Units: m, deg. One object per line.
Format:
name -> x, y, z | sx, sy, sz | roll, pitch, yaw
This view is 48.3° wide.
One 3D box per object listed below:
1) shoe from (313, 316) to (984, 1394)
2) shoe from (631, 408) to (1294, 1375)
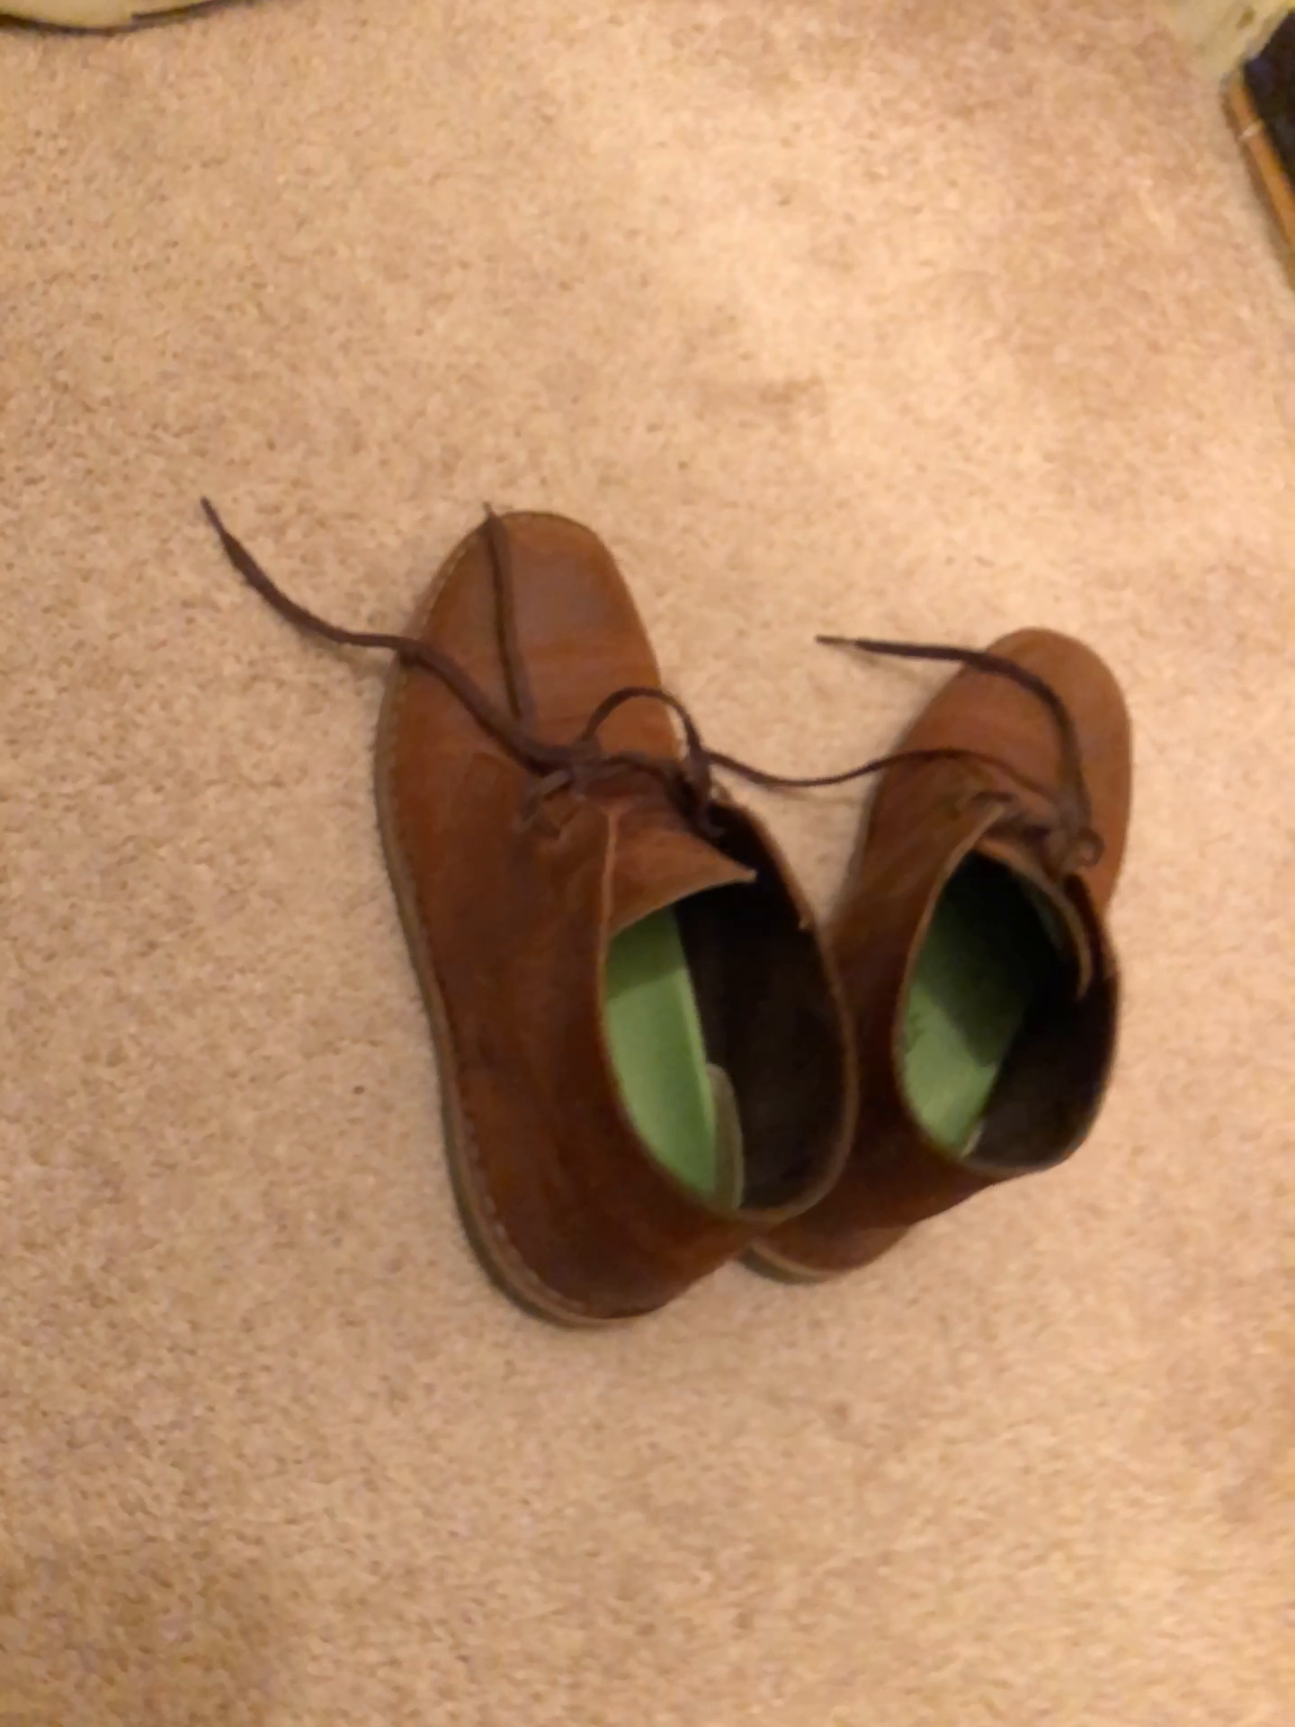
shoe -> -0.019, -0.002, 0.464 | 0.110, 0.138, 0.304 | -7, 72, -22
shoe -> 0.127, 0.009, 0.511 | 0.110, 0.138, 0.304 | 31, 62, -6
